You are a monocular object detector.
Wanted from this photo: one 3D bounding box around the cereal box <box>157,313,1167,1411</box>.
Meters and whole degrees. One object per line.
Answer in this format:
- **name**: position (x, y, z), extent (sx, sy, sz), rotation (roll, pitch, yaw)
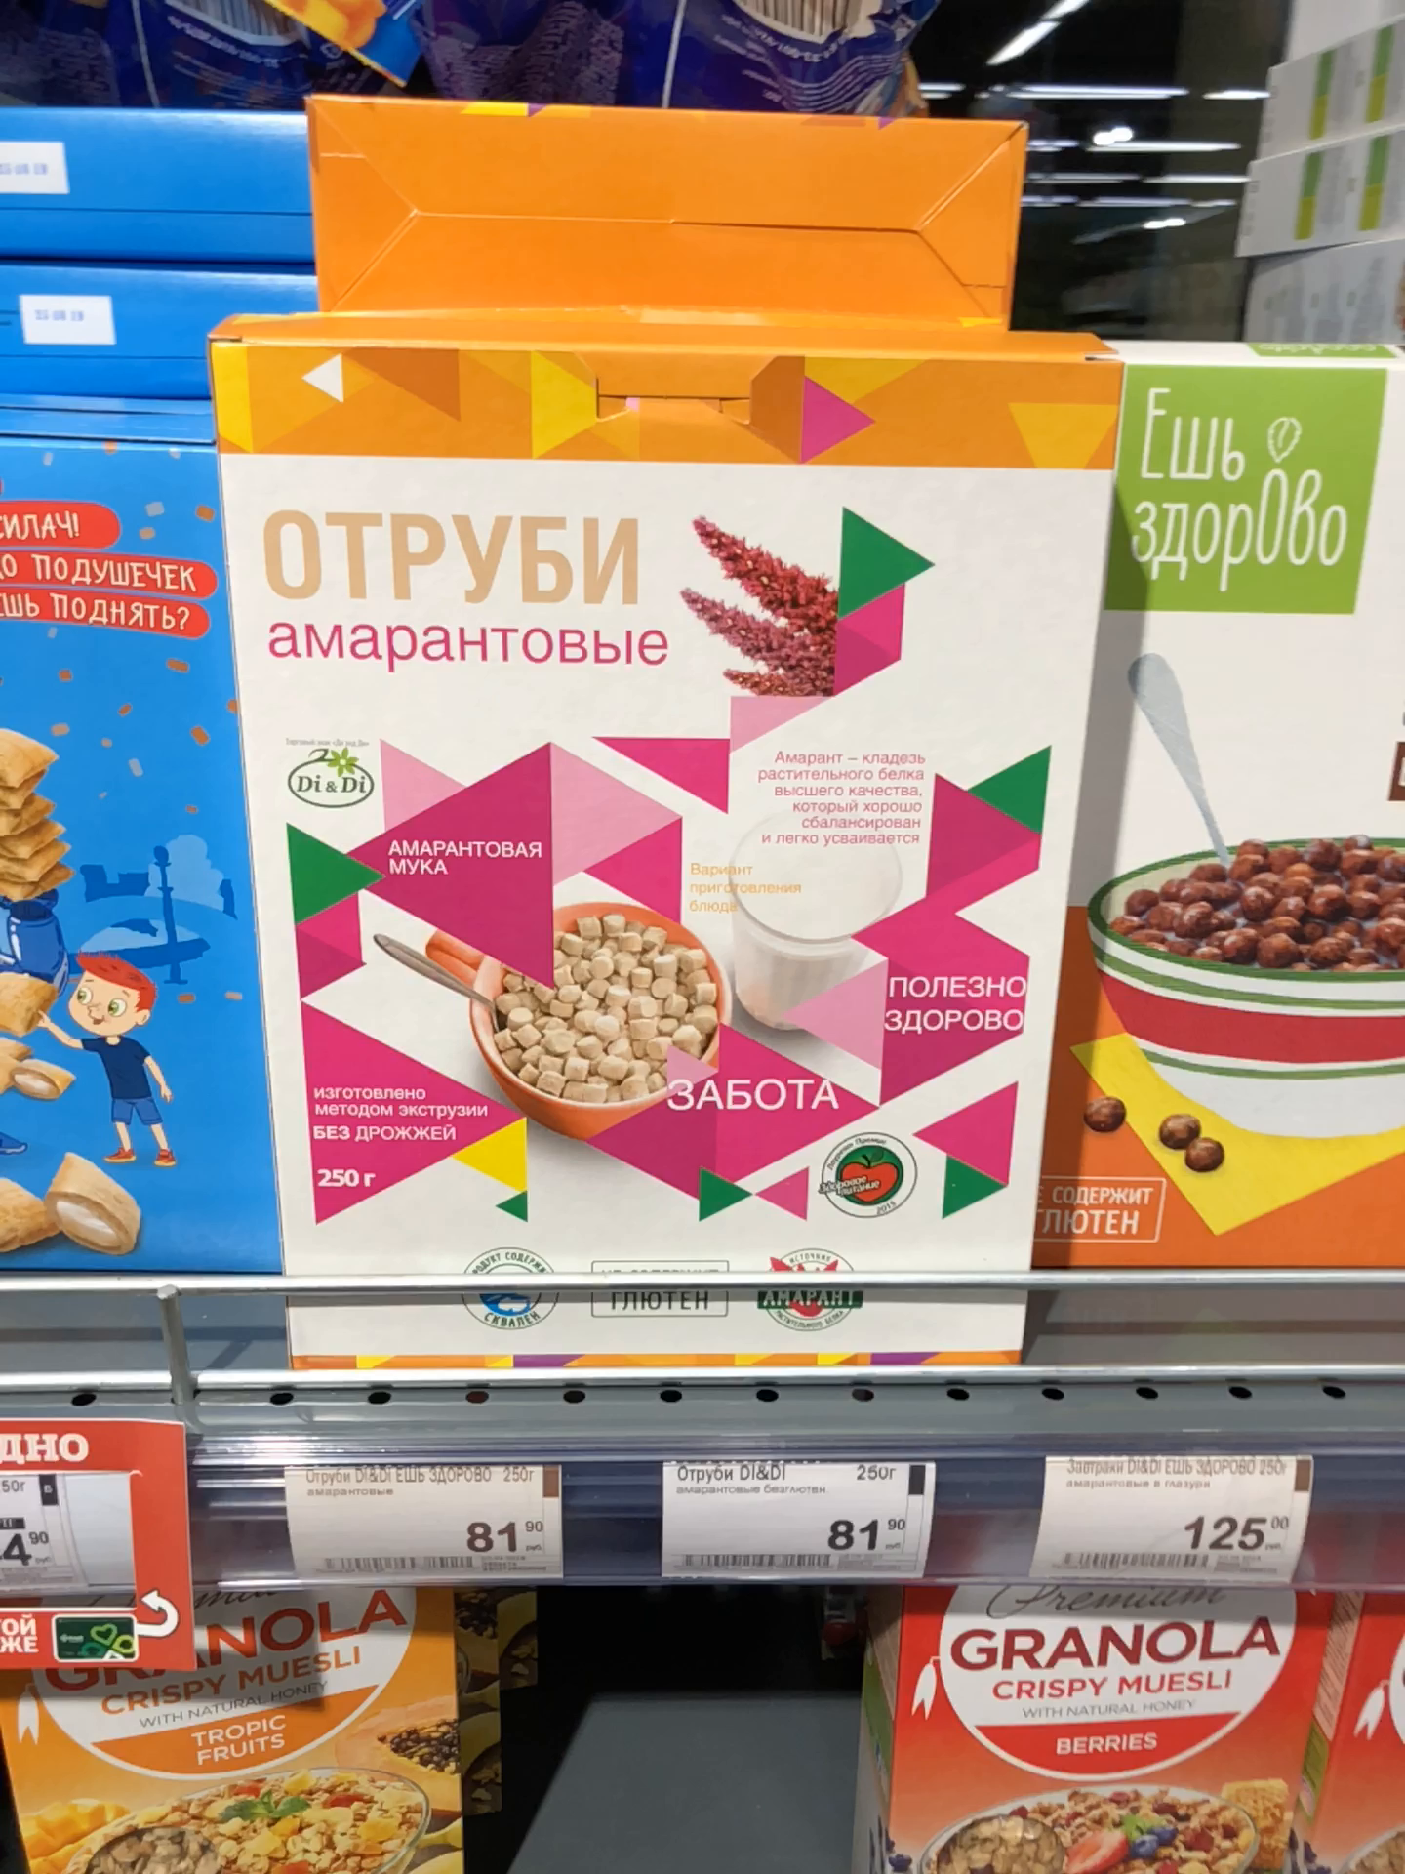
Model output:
- **cereal box**: position (-0.010, -0.011, 0.380), extent (0.200, 0.259, 0.060), rotation (0, 20, -2)
